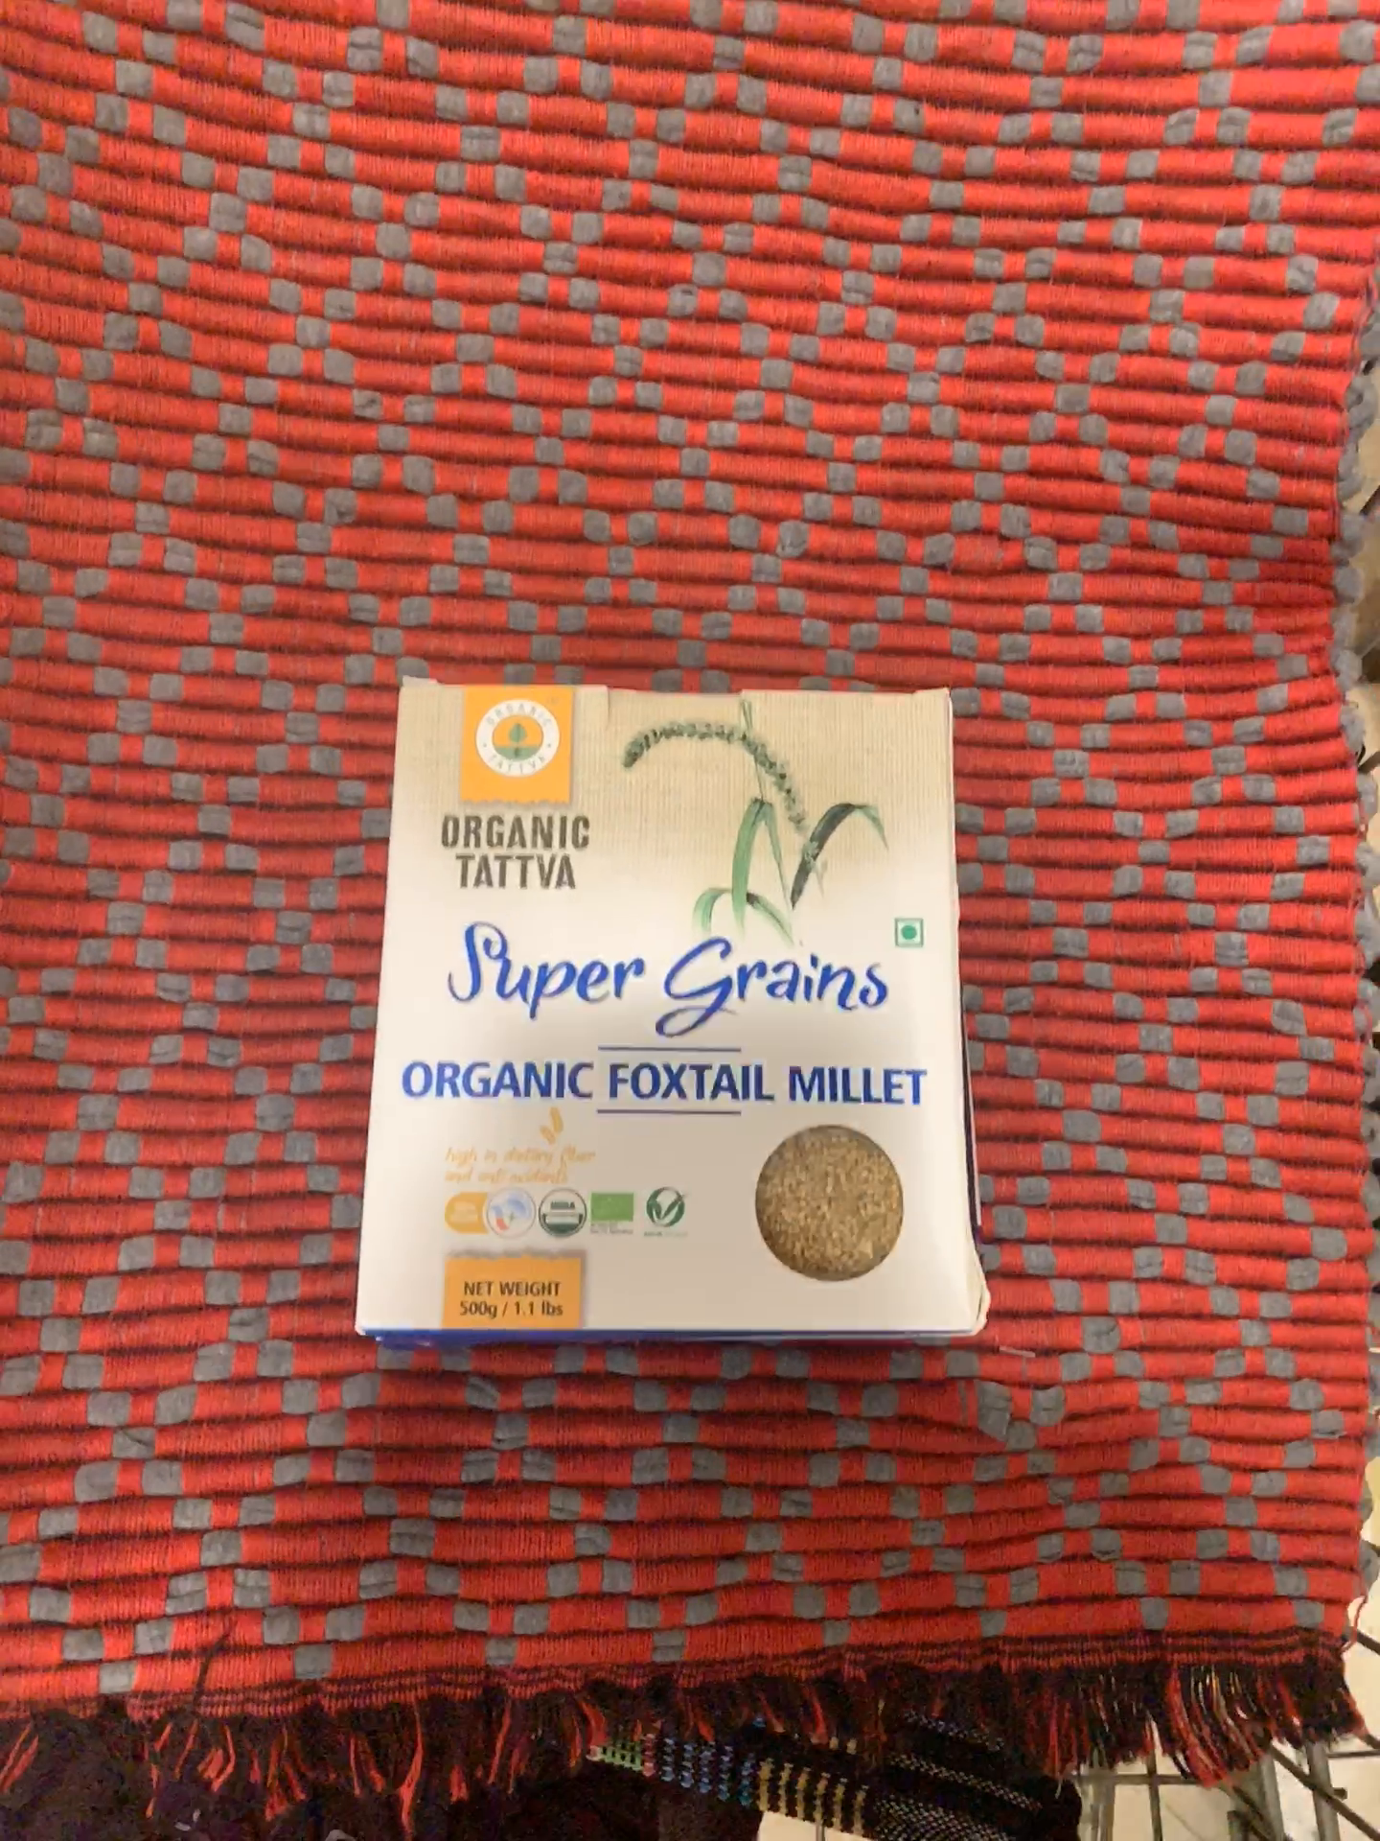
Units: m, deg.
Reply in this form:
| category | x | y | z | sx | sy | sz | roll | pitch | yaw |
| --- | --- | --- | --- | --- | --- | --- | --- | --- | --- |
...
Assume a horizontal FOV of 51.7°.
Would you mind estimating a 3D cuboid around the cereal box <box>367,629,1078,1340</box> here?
| category | x | y | z | sx | sy | sz | roll | pitch | yaw |
| --- | --- | --- | --- | --- | --- | --- | --- | --- | --- |
| cereal box | 0.006 | 0.016 | 0.327 | 0.140 | 0.060 | 0.150 | 1 | 76 | -2 |
